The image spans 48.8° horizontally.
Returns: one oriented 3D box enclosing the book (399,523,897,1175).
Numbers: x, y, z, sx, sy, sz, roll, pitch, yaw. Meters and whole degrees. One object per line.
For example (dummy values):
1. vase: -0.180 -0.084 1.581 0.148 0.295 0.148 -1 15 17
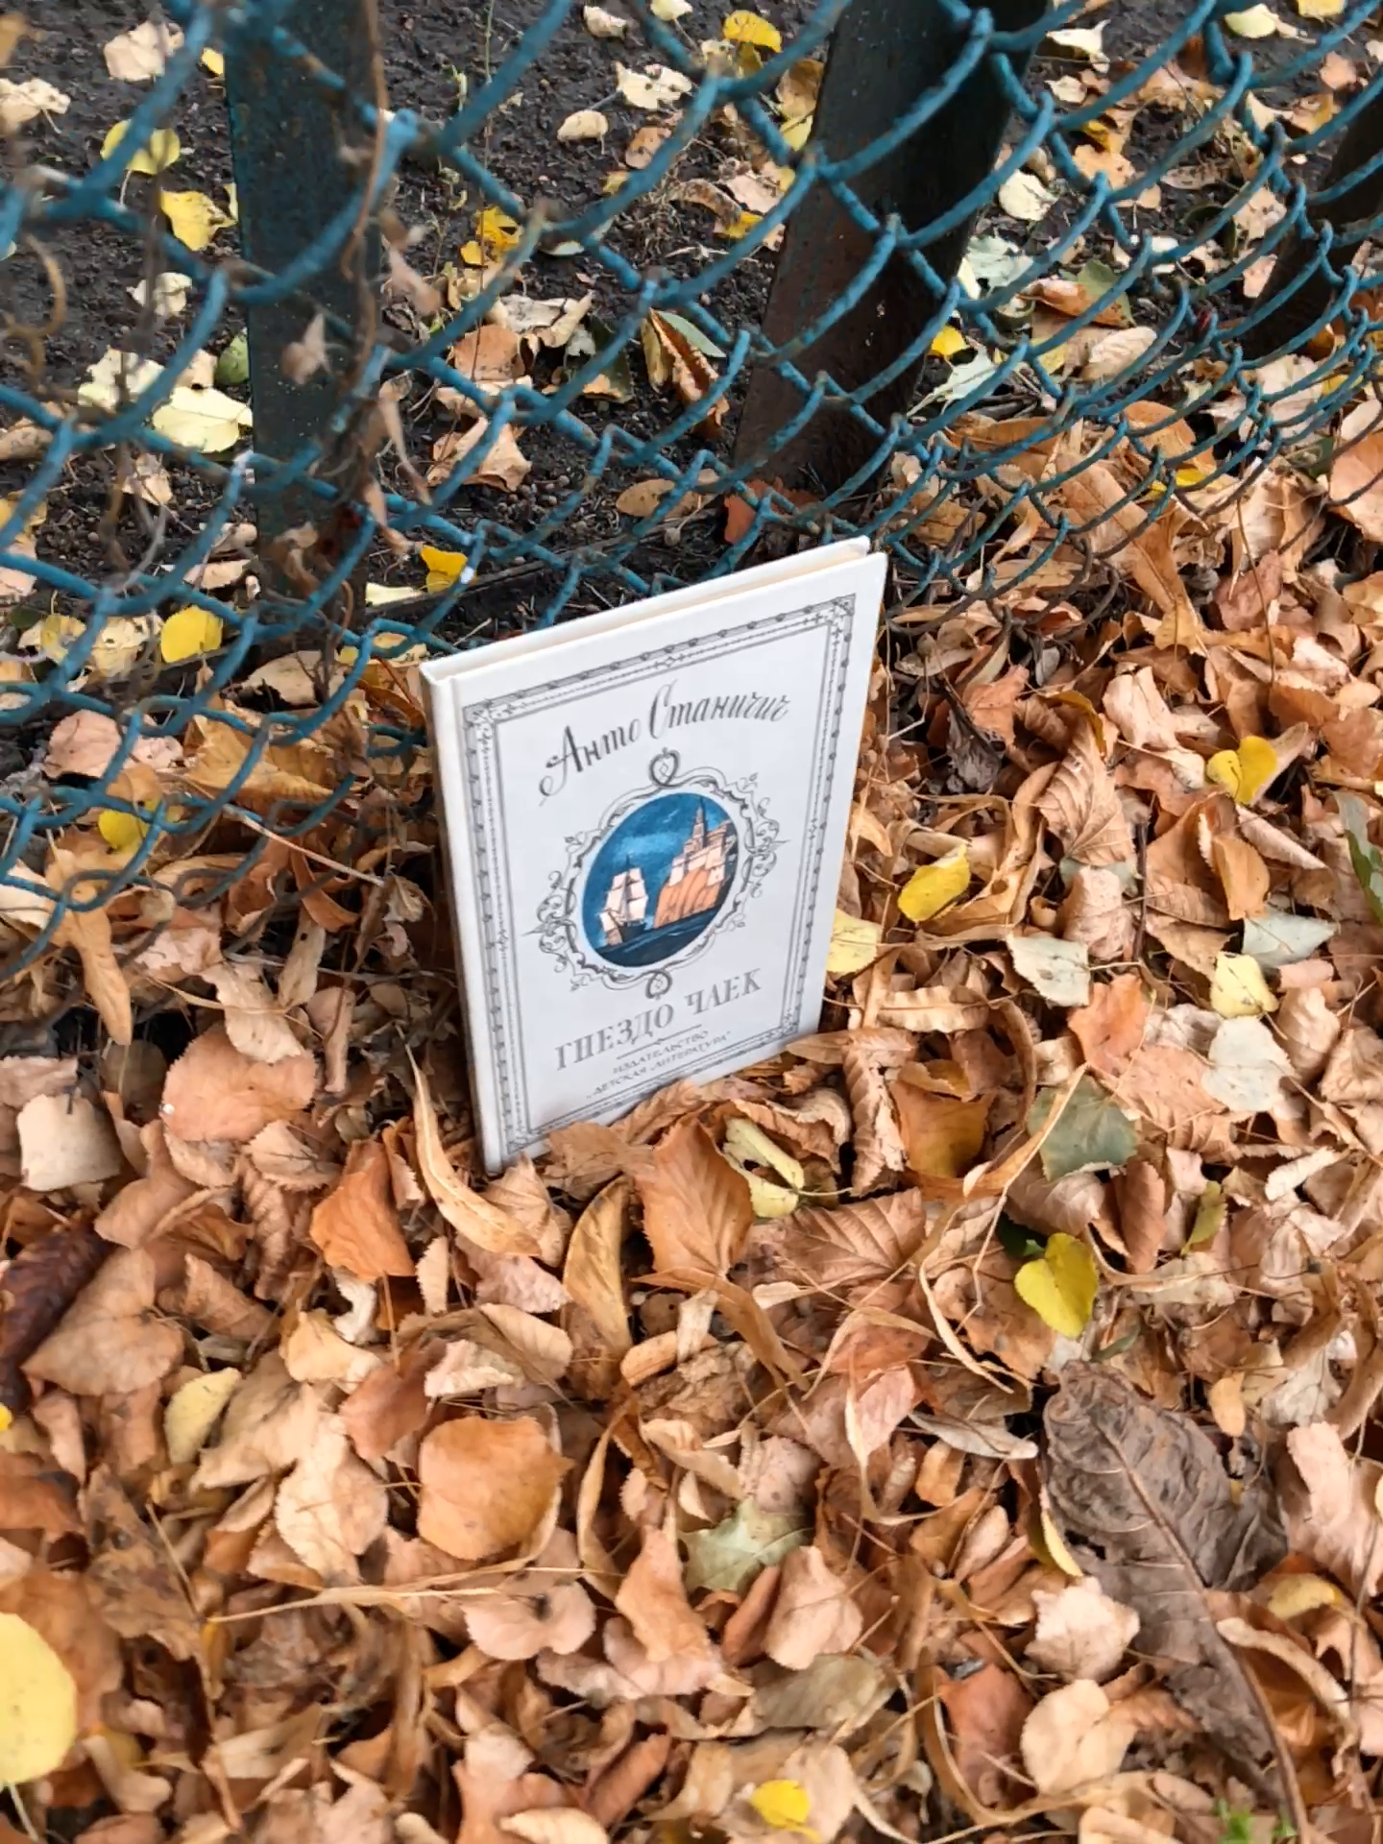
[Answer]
1. book: -0.012 -0.011 0.446 0.128 0.200 0.016 -20 52 -20
